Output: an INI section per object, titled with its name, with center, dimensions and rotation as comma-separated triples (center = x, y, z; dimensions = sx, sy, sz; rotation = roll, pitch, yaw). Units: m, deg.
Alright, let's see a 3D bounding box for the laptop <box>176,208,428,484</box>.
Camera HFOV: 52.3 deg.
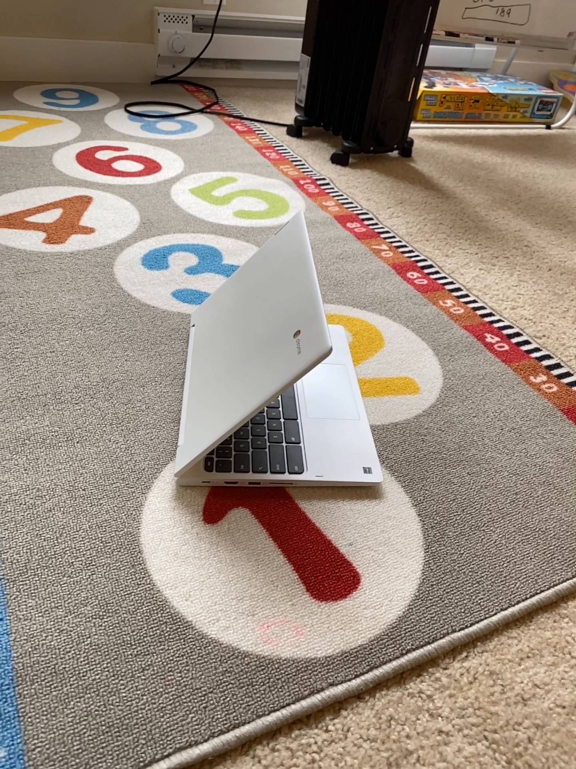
[laptop]
center = -0.004, -0.057, 0.664
dimensions = 0.216, 0.162, 0.300
rotation = 2, 38, -7
